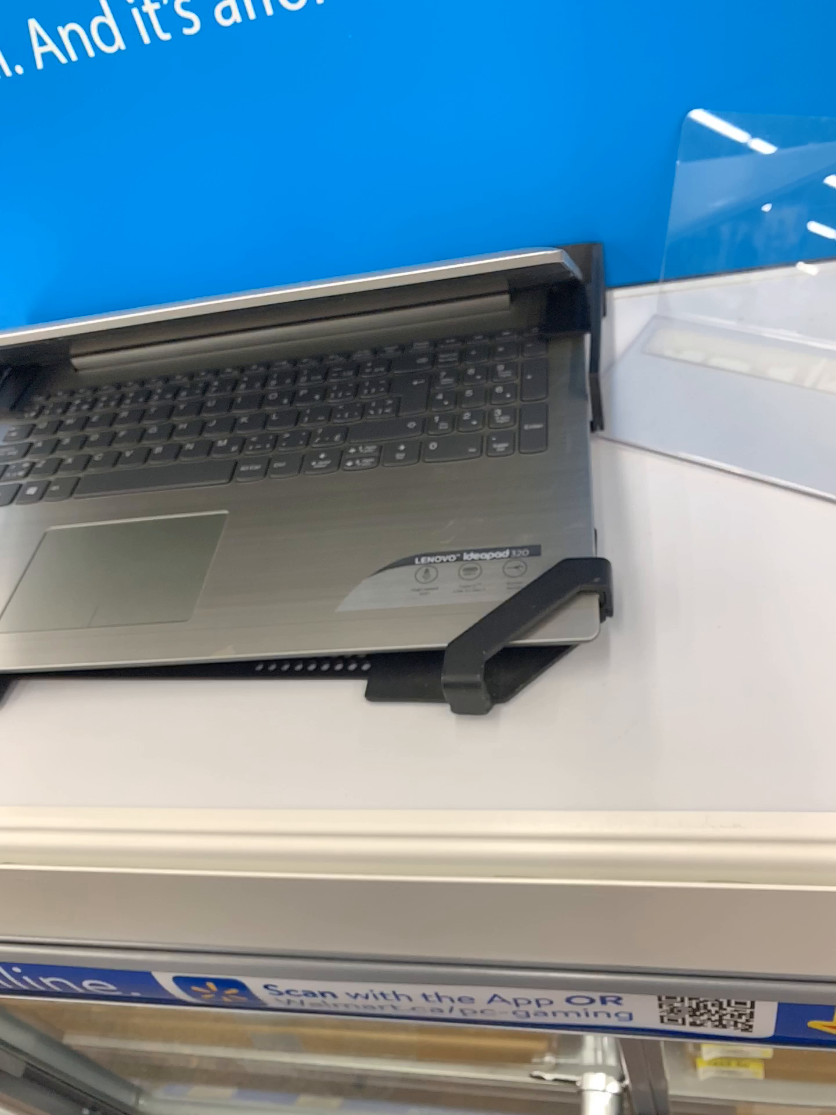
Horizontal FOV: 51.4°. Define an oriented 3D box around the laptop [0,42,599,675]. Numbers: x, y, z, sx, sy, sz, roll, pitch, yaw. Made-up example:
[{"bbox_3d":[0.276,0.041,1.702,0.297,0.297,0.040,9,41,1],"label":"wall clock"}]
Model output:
[{"bbox_3d":[-0.100,-0.082,0.364,0.324,0.110,0.220,-5,48,13],"label":"laptop"}]
